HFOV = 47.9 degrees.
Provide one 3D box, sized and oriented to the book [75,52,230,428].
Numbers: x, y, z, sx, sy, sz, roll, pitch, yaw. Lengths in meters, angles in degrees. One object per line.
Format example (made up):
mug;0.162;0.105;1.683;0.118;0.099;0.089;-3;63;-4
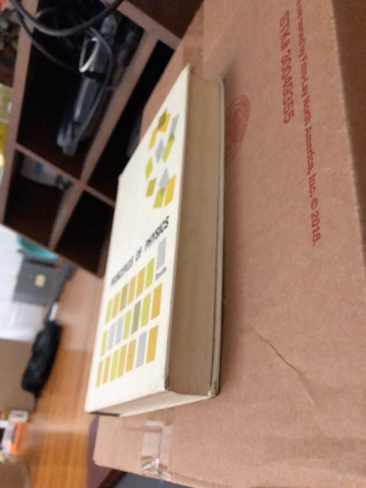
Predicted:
book;-0.027;0.007;0.332;0.180;0.040;0.250;137;143;-55
